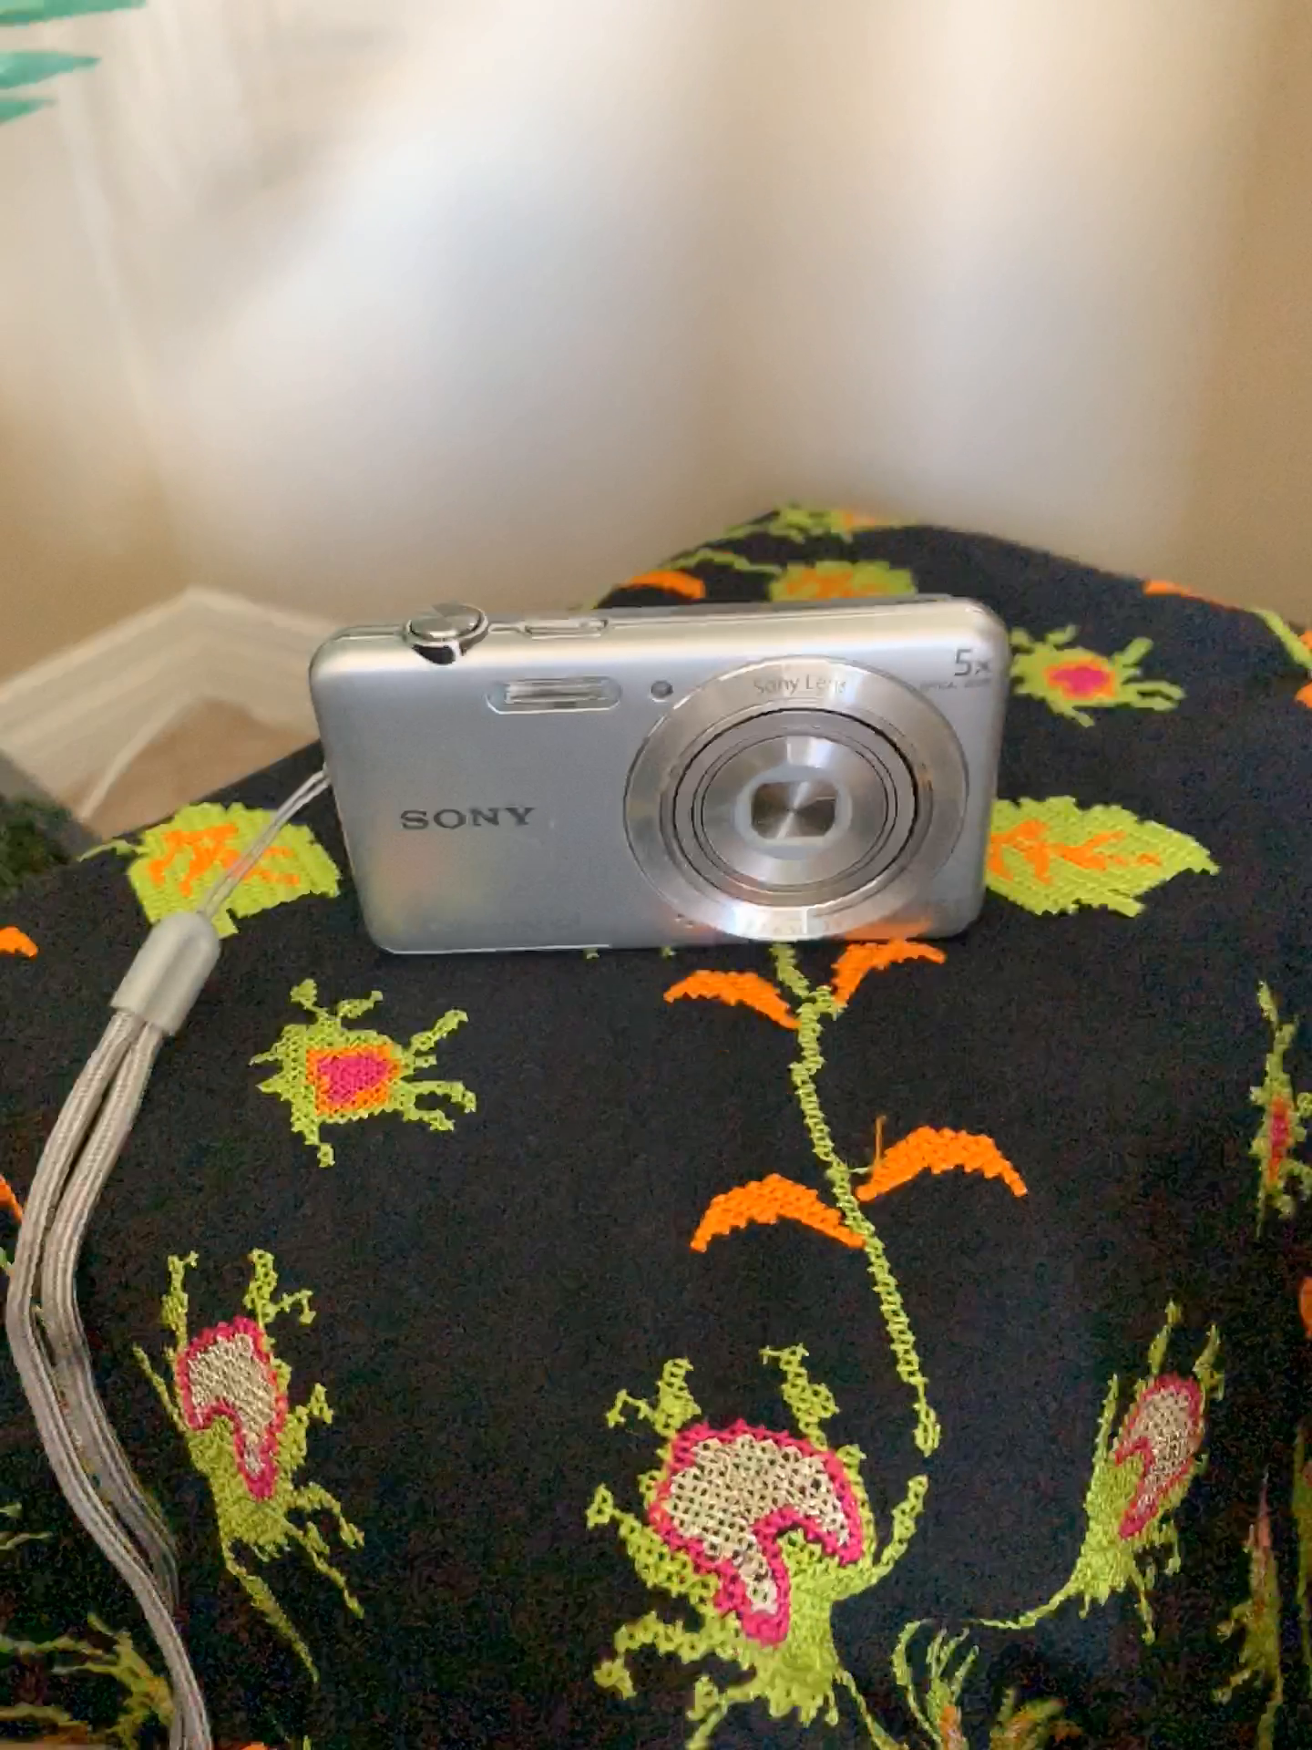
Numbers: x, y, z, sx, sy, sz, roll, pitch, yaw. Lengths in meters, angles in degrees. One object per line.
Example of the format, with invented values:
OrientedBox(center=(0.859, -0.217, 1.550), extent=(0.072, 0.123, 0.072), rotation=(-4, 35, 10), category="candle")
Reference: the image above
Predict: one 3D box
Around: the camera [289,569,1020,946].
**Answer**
OrientedBox(center=(0.001, -0.015, 0.182), extent=(0.086, 0.042, 0.020), rotation=(-2, 35, 2), category="camera")
